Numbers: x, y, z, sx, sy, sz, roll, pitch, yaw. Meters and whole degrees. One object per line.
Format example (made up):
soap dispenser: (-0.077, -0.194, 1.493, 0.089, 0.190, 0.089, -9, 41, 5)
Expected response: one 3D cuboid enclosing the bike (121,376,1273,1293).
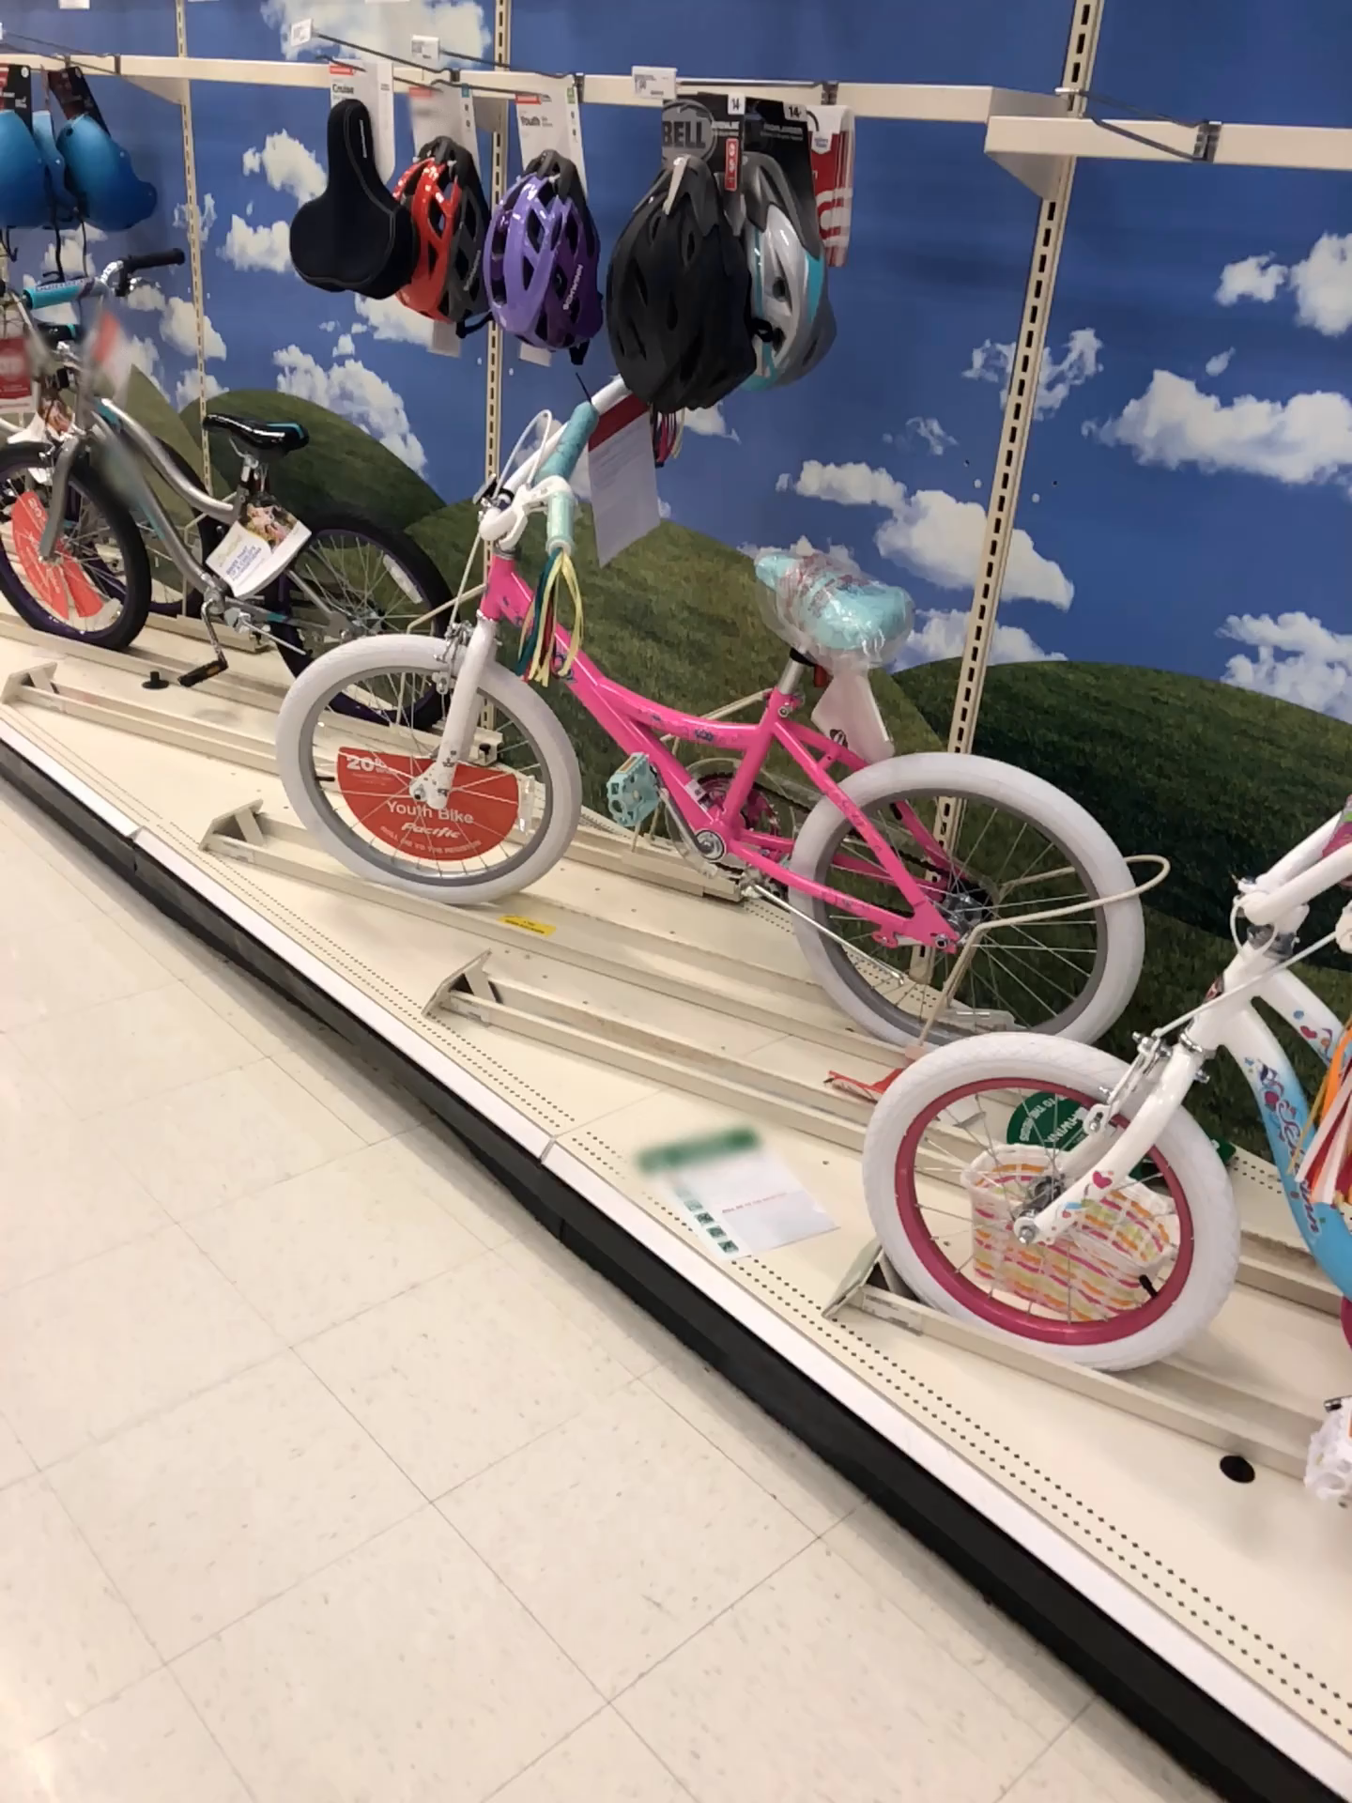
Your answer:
bike: (0.006, -0.215, 2.109, 1.347, 0.882, 0.729, 14, 27, 22)
